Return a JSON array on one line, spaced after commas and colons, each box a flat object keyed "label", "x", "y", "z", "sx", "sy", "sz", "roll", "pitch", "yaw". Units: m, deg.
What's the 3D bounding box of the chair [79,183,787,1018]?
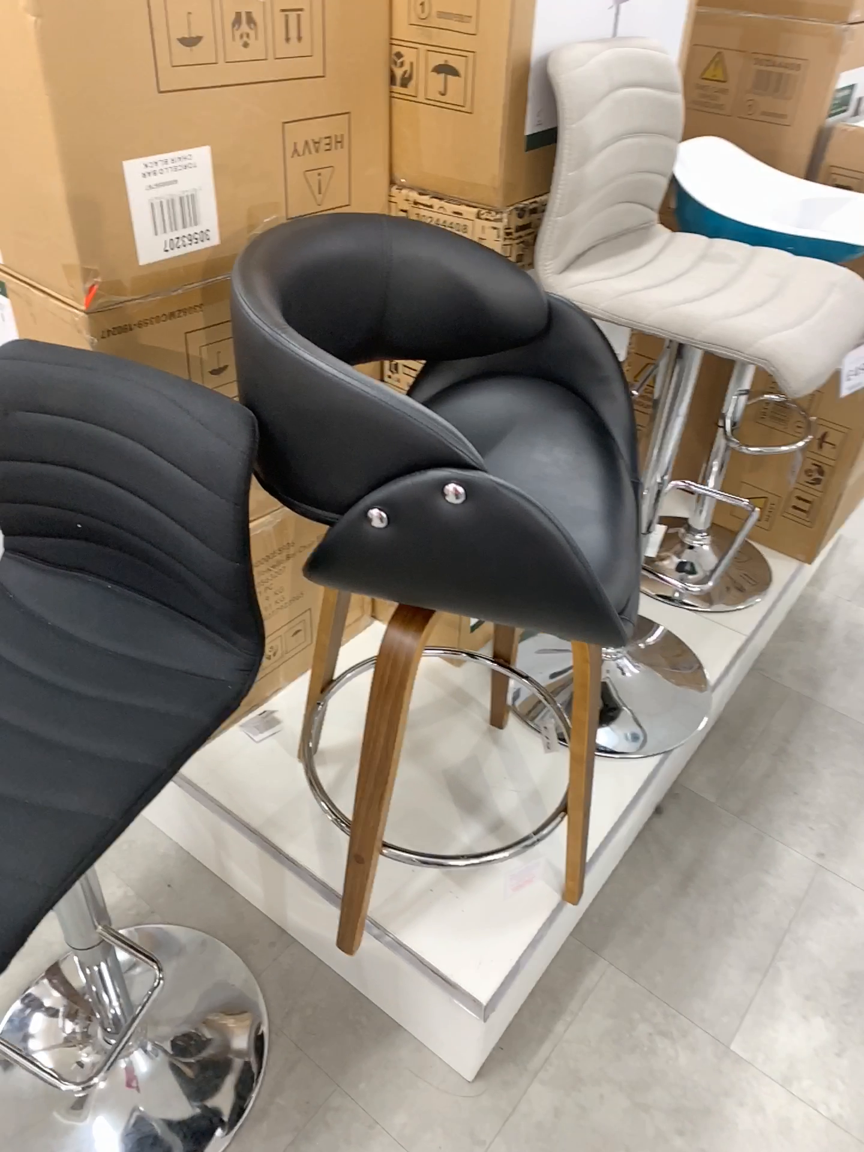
[{"label": "chair", "x": 0.012, "y": 0.056, "z": 1.174, "sx": 0.546, "sy": 0.897, "sz": 0.570, "roll": 8, "pitch": 40, "yaw": 5}]

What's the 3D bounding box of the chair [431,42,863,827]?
[{"label": "chair", "x": 0.337, "y": -0.196, "z": 1.297, "sx": 0.438, "sy": 0.967, "sz": 0.437, "roll": 25, "pitch": 40, "yaw": 26}]

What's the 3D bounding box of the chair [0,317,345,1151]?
[{"label": "chair", "x": -0.462, "y": 0.308, "z": 1.035, "sx": 0.485, "sy": 1.016, "sz": 0.470, "roll": 19, "pitch": 39, "yaw": 24}]
